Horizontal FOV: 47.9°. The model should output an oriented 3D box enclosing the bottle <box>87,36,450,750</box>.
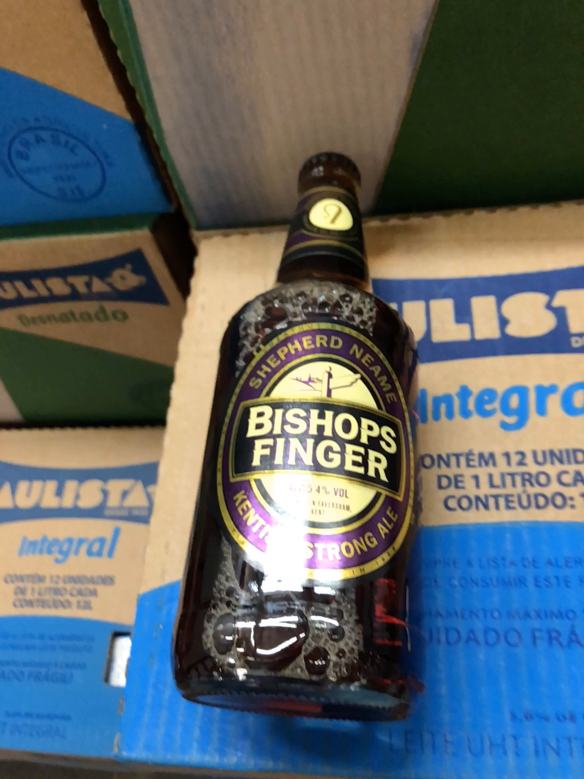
[{"bbox_3d":[0.008,-0.019,0.237,0.080,0.070,0.251,-1,57,10],"label":"bottle"}]
